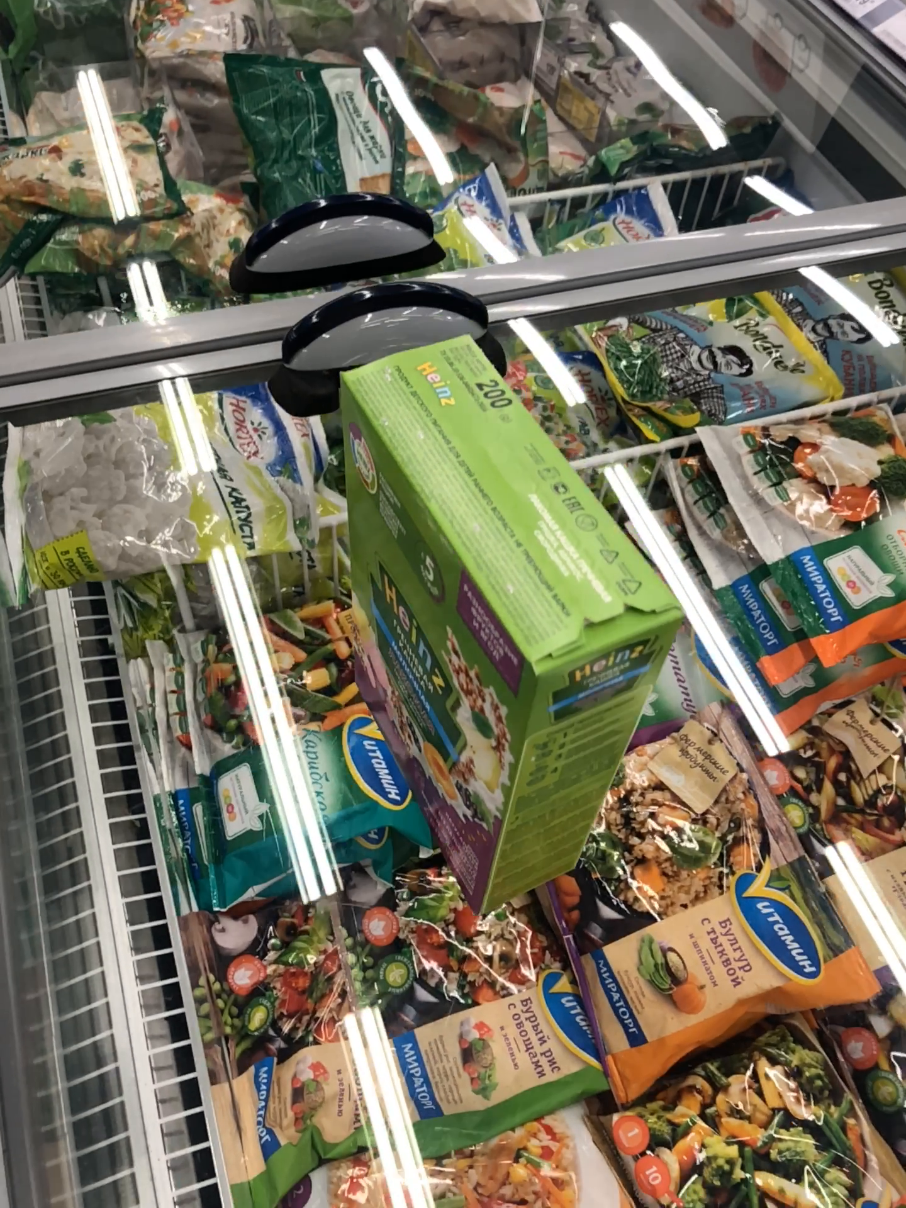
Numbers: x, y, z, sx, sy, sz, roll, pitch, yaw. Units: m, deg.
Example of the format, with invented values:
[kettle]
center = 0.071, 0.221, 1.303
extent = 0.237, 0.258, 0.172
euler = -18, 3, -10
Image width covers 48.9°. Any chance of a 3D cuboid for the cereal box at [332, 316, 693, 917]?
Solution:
[cereal box]
center = 0.007, 0.017, 0.378
extent = 0.050, 0.199, 0.130
euler = -21, 59, -19
